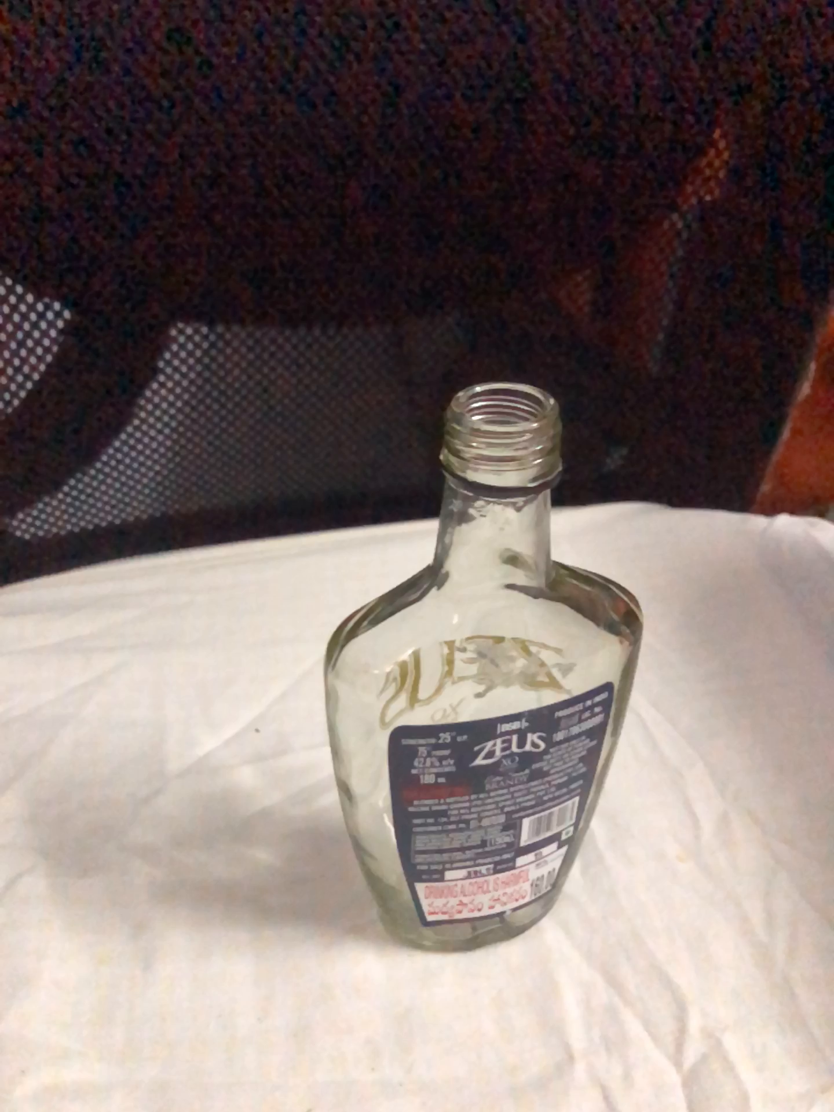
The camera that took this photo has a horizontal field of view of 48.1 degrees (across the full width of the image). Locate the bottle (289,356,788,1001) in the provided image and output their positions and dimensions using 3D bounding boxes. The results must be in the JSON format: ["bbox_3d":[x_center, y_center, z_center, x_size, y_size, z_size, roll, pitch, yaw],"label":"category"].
[{"bbox_3d":[0.019,0.037,0.239,0.090,0.159,0.050,-8,38,-15],"label":"bottle"}]
